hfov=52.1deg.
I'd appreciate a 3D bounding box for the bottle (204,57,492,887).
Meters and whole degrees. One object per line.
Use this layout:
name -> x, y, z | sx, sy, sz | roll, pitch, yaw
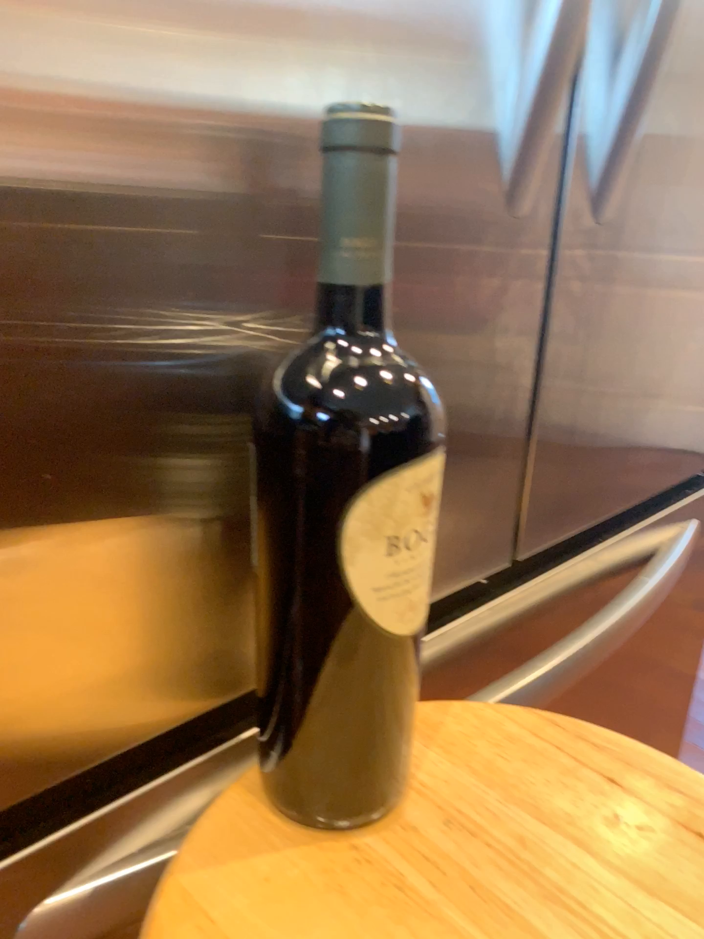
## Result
bottle -> -0.006, 0.011, 0.313 | 0.080, 0.319, 0.080 | 3, 18, -1
